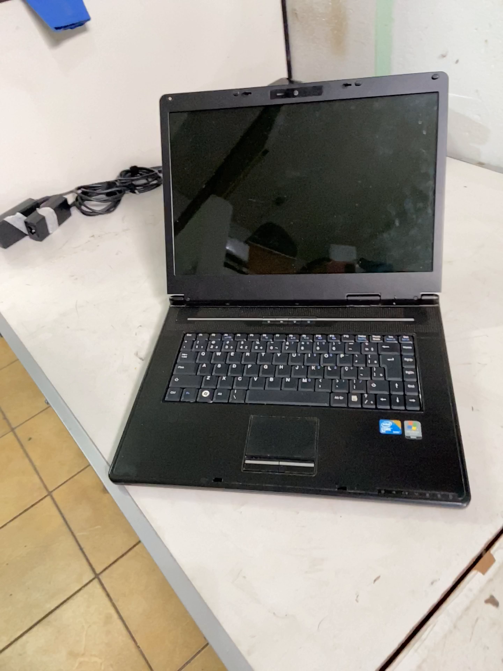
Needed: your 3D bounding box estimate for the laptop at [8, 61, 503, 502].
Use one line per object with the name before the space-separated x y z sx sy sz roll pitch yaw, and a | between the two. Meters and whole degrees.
laptop | 0.034 -0.087 0.575 0.351 0.224 0.432 0 47 12
